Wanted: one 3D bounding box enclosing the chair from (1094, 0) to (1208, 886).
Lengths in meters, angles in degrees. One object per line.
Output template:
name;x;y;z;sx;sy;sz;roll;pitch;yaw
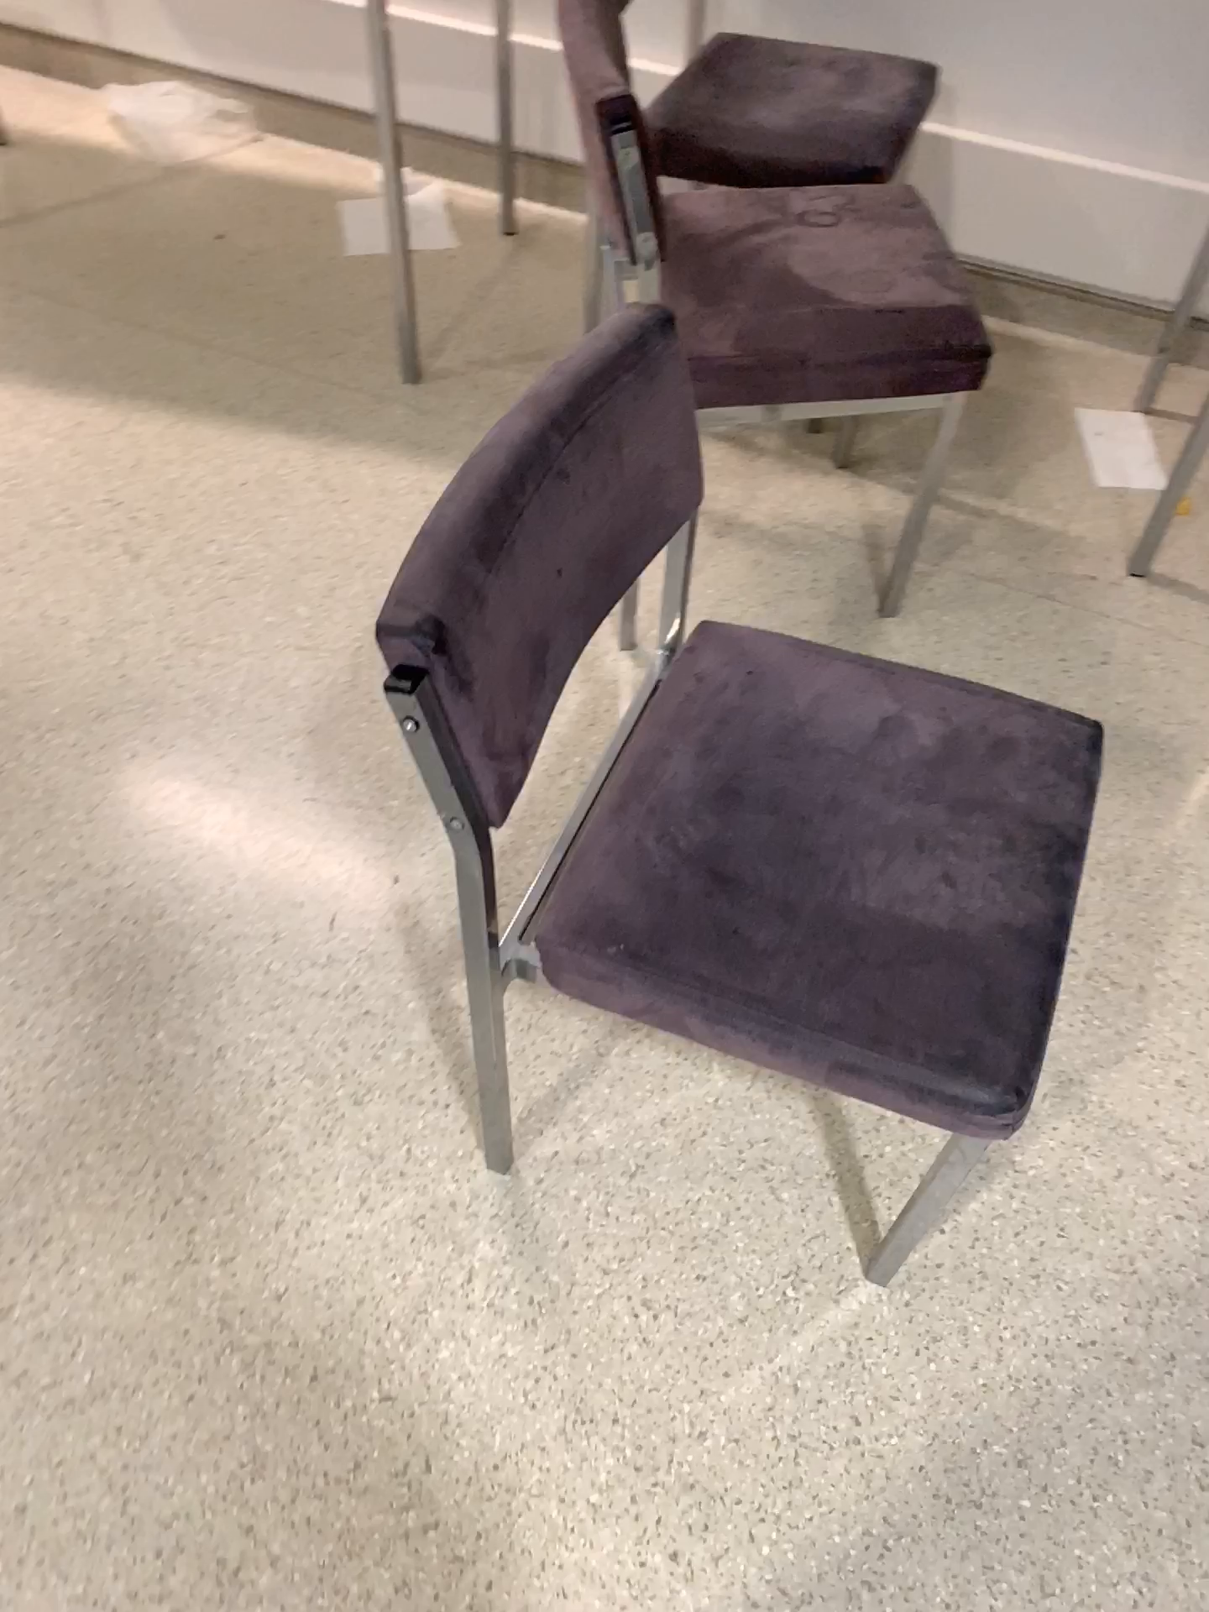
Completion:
chair;1.021;-0.337;1.170;0.740;0.615;0.514;-5;54;-6

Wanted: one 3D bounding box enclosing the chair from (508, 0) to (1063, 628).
chair;0.183;-0.738;1.606;0.510;0.615;0.746;-5;51;3

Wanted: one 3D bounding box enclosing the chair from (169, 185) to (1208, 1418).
chair;0.189;-0.042;1.017;0.681;0.506;0.685;19;53;12
